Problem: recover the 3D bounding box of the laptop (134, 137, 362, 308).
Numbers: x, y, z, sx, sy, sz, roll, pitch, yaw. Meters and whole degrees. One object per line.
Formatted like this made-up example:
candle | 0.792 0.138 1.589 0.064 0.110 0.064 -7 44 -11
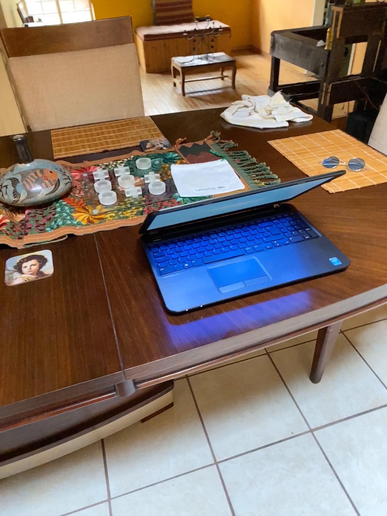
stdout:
laptop | 0.089 -0.090 0.779 0.356 0.158 0.249 -14 39 -13
